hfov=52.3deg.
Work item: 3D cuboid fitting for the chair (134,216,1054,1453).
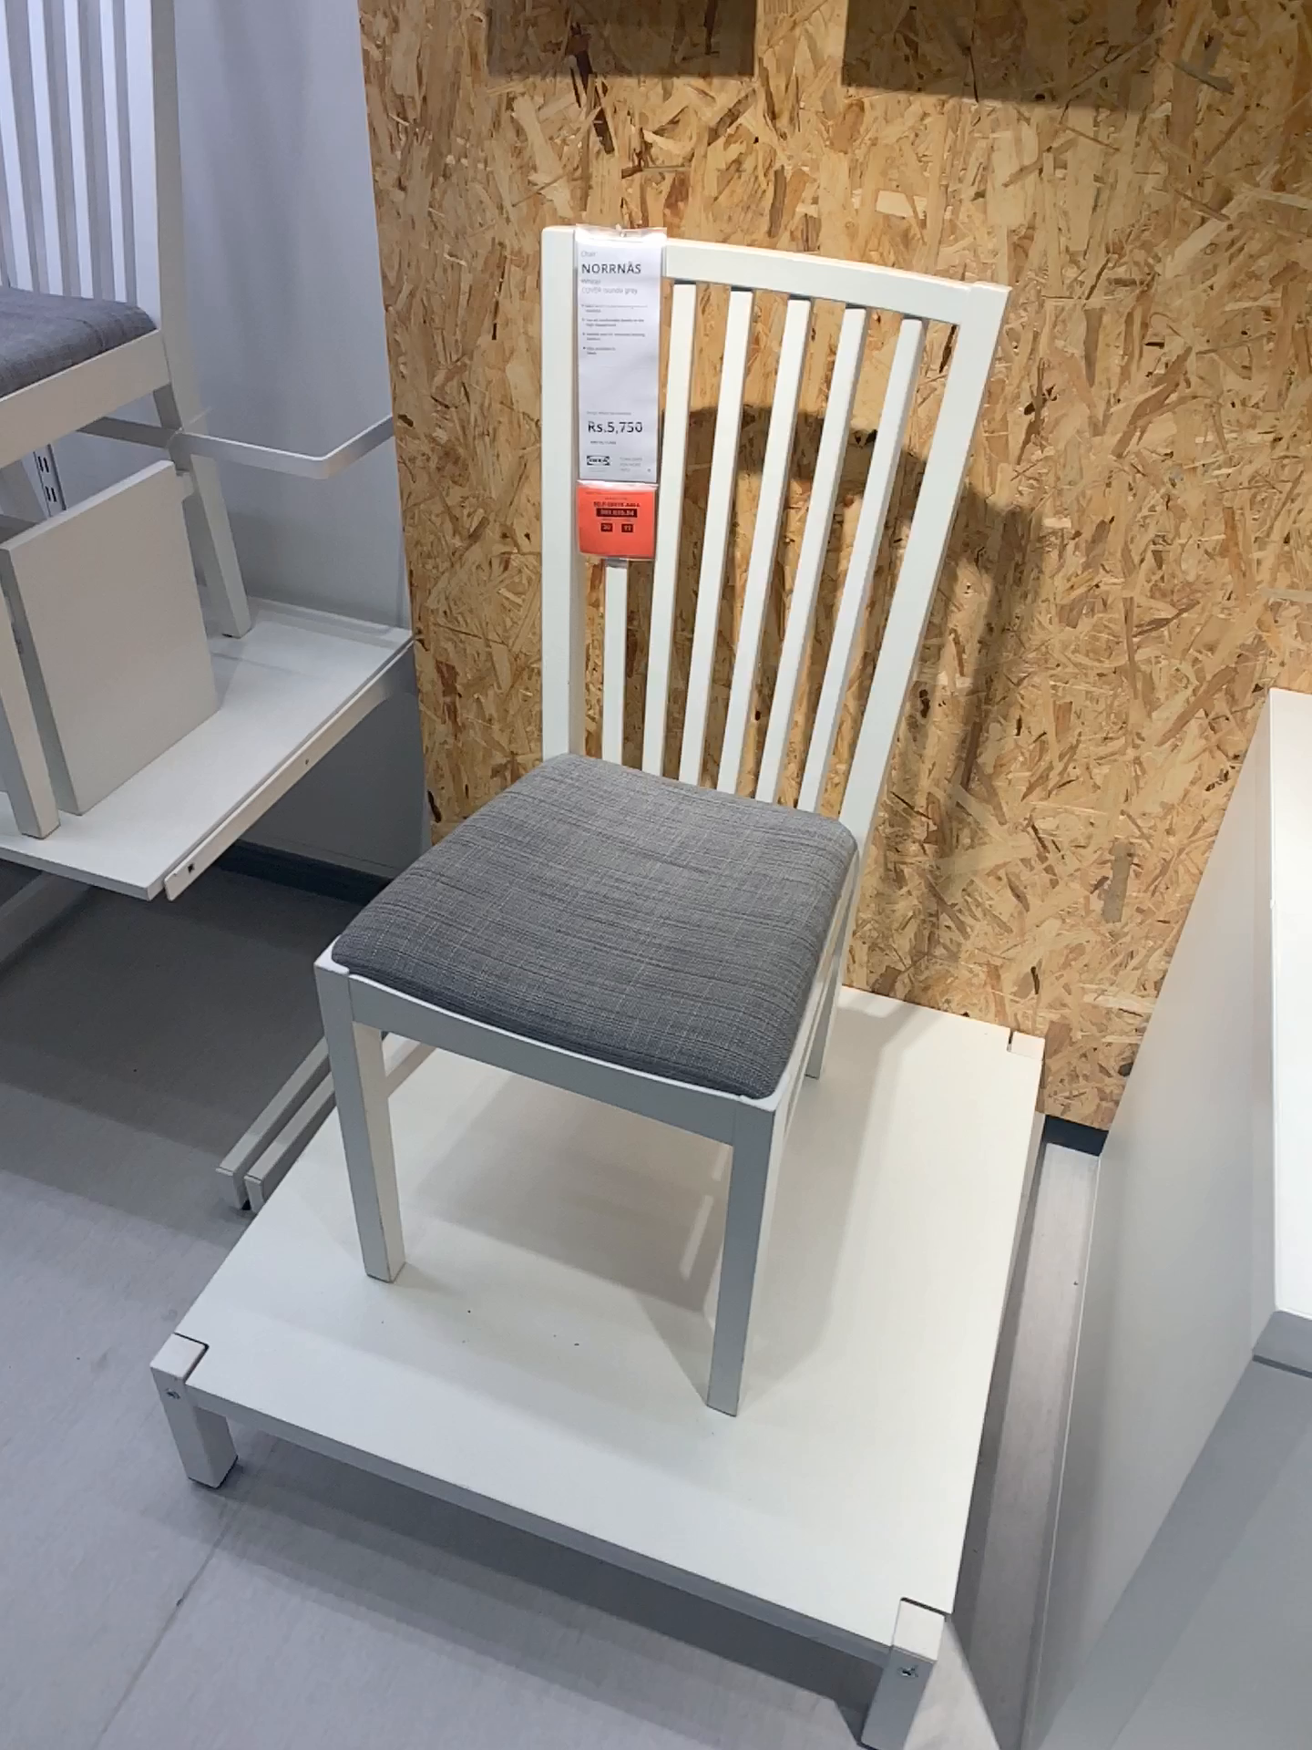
[{"bbox_3d":[-0.007,-0.040,1.252,0.470,0.896,0.592,15,40,16],"label":"chair"}]
